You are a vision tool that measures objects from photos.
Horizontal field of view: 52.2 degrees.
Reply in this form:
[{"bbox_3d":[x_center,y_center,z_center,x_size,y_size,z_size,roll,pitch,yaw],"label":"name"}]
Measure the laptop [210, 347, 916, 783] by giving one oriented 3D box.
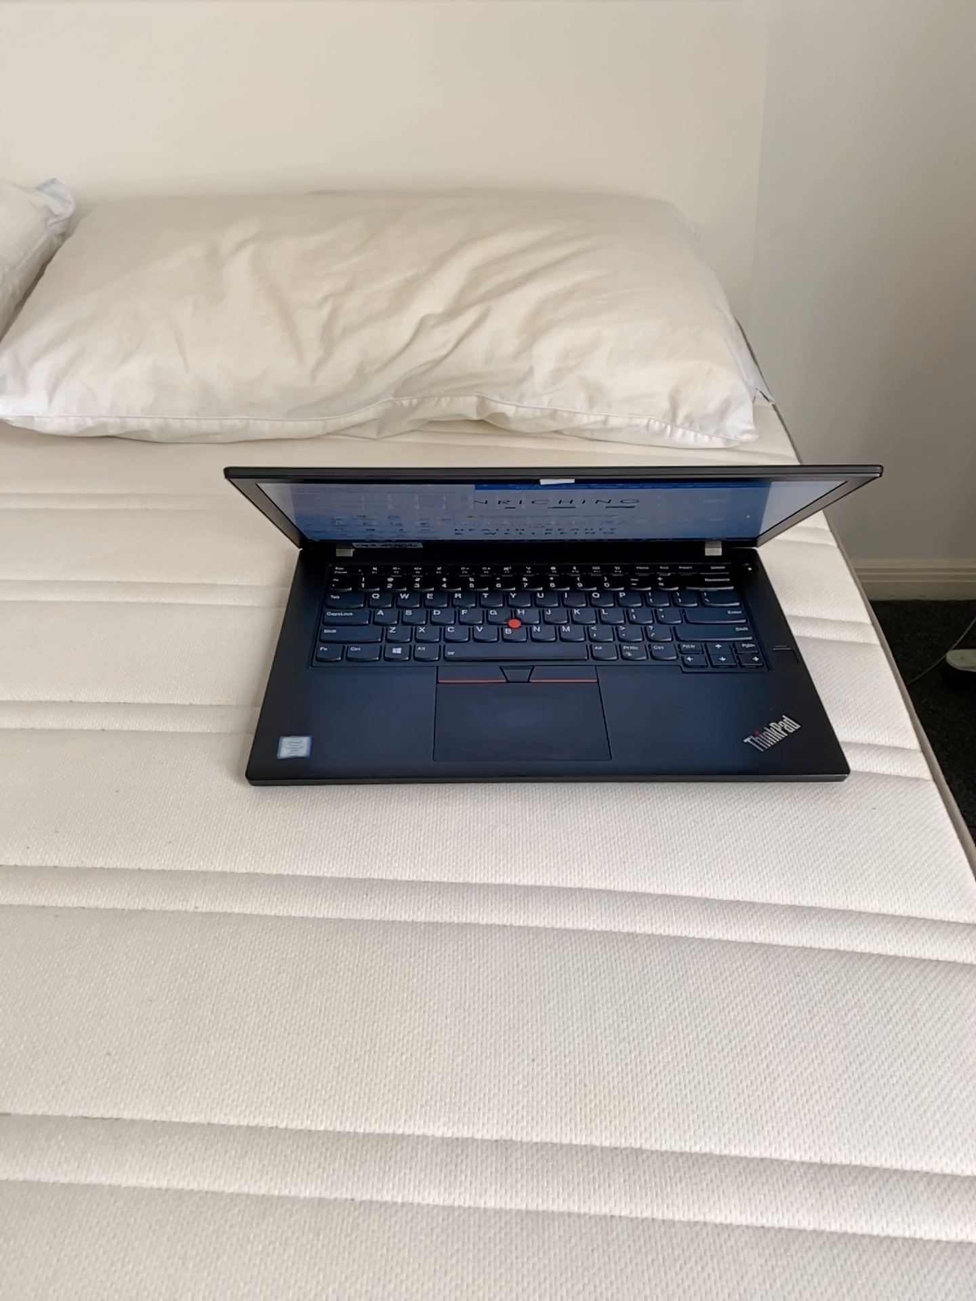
[{"bbox_3d":[0.035,-0.060,0.587,0.324,0.150,0.221,-1,39,-1],"label":"laptop"}]
